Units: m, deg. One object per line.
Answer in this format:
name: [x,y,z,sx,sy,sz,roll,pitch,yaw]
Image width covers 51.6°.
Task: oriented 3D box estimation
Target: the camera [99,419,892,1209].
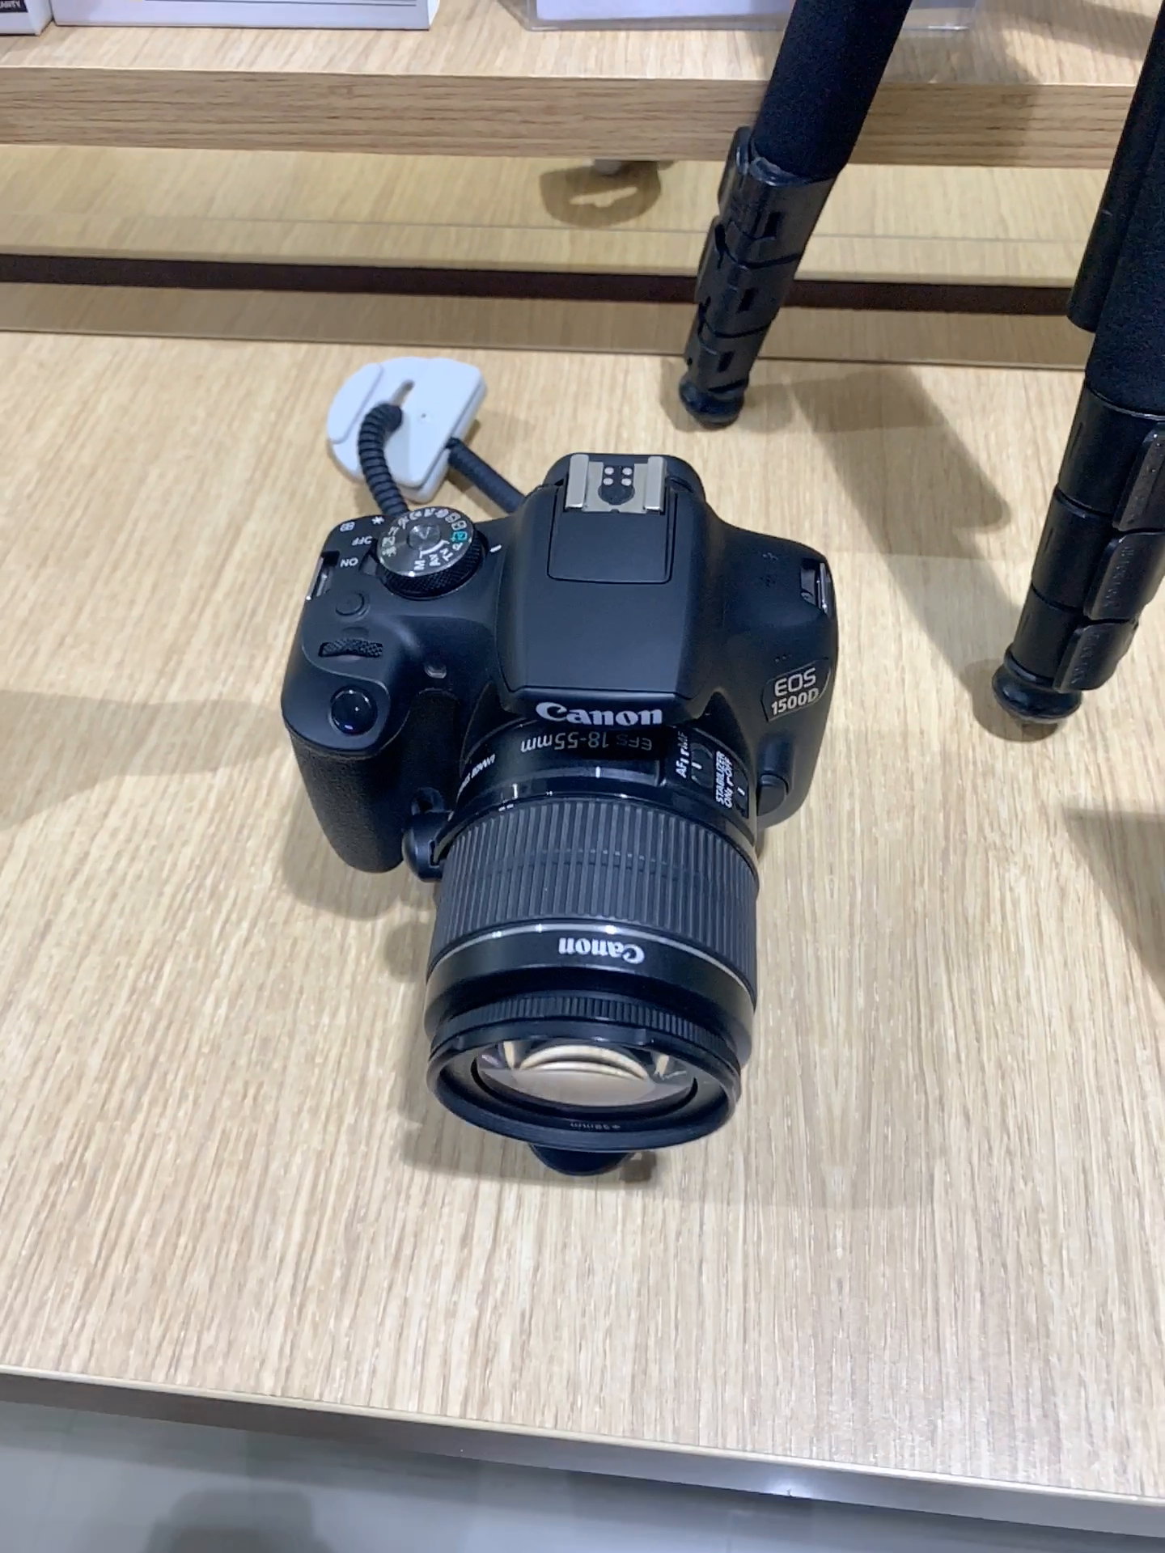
camera: [-0.008,0.004,0.260,0.121,0.088,0.140,2,53,4]
